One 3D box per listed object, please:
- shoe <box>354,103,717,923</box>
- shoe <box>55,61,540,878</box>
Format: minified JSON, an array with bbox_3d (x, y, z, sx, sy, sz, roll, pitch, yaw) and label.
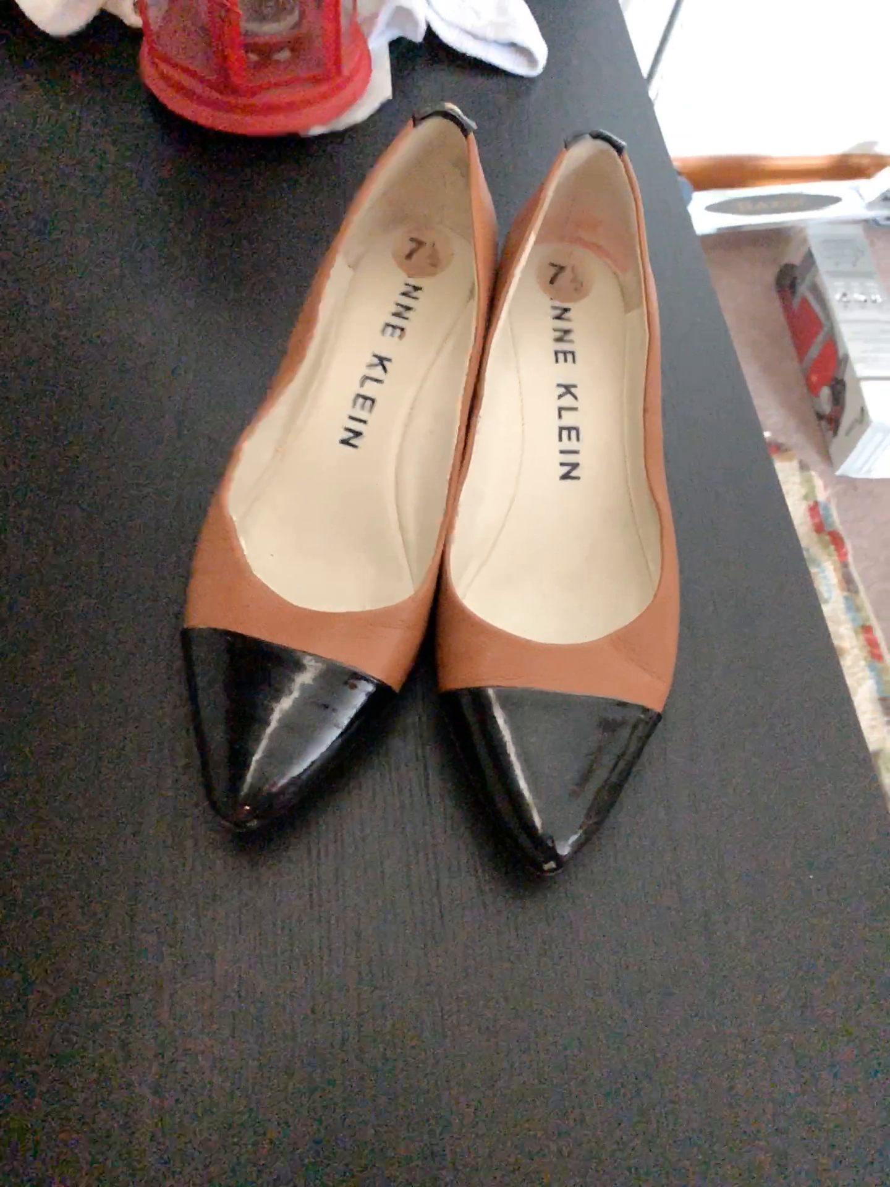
[{"bbox_3d":[0.033,-0.030,0.330,0.090,0.080,0.261,7,77,0],"label":"shoe"},{"bbox_3d":[-0.038,-0.044,0.326,0.080,0.080,0.261,14,74,2],"label":"shoe"}]
